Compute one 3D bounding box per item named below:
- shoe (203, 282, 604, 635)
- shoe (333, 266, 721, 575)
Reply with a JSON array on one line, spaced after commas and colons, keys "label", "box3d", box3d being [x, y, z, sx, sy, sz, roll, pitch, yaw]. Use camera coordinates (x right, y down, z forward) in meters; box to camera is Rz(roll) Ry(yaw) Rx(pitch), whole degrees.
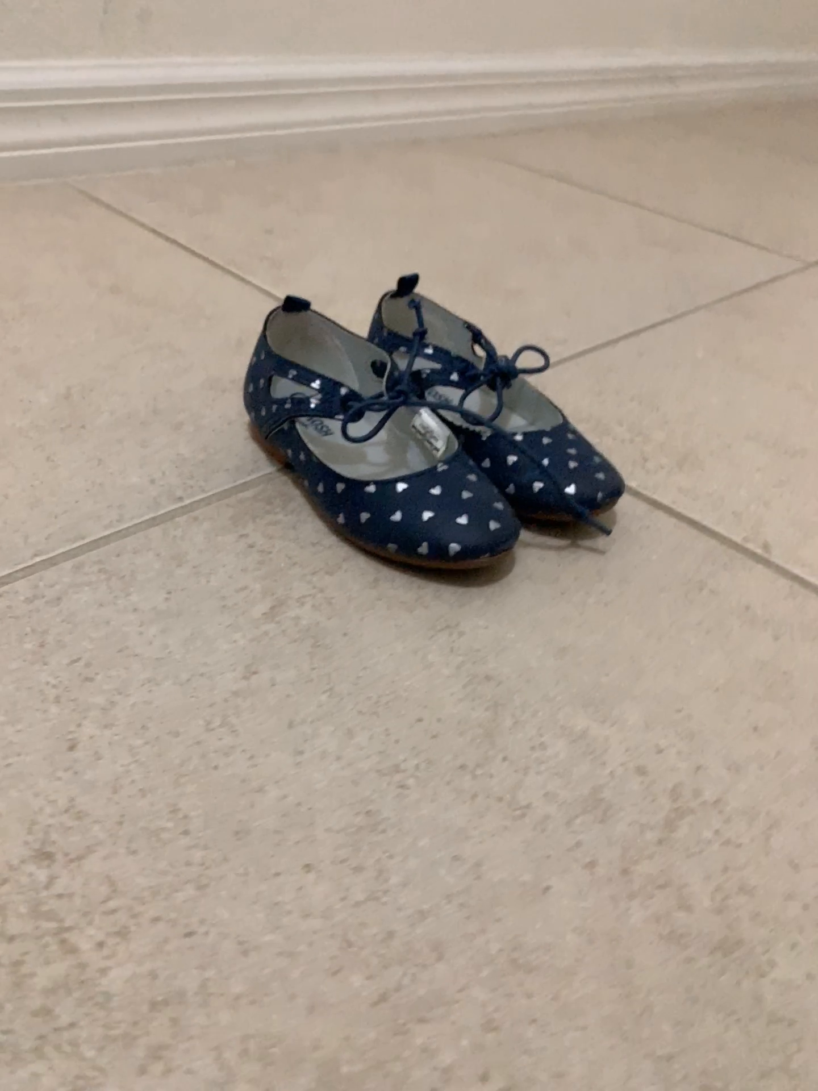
[{"label": "shoe", "box3d": [-0.013, -0.048, 0.358, 0.071, 0.061, 0.171, -22, 45, -34]}, {"label": "shoe", "box3d": [0.044, -0.068, 0.396, 0.071, 0.061, 0.171, -22, 45, -34]}]
